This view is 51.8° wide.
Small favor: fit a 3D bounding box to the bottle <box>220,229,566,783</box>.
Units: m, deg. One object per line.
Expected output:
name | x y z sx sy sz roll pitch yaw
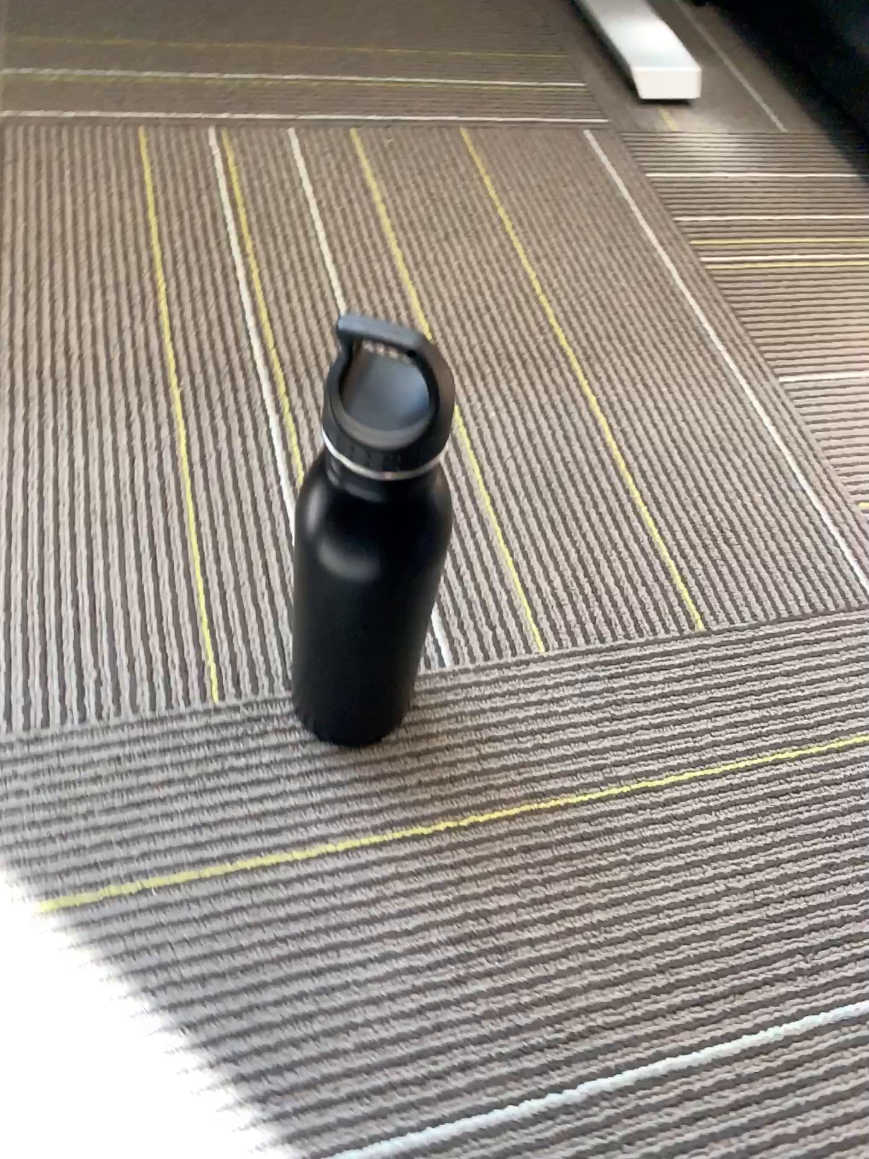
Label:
bottle | -0.029 -0.012 0.407 0.090 0.249 0.080 31 56 13
